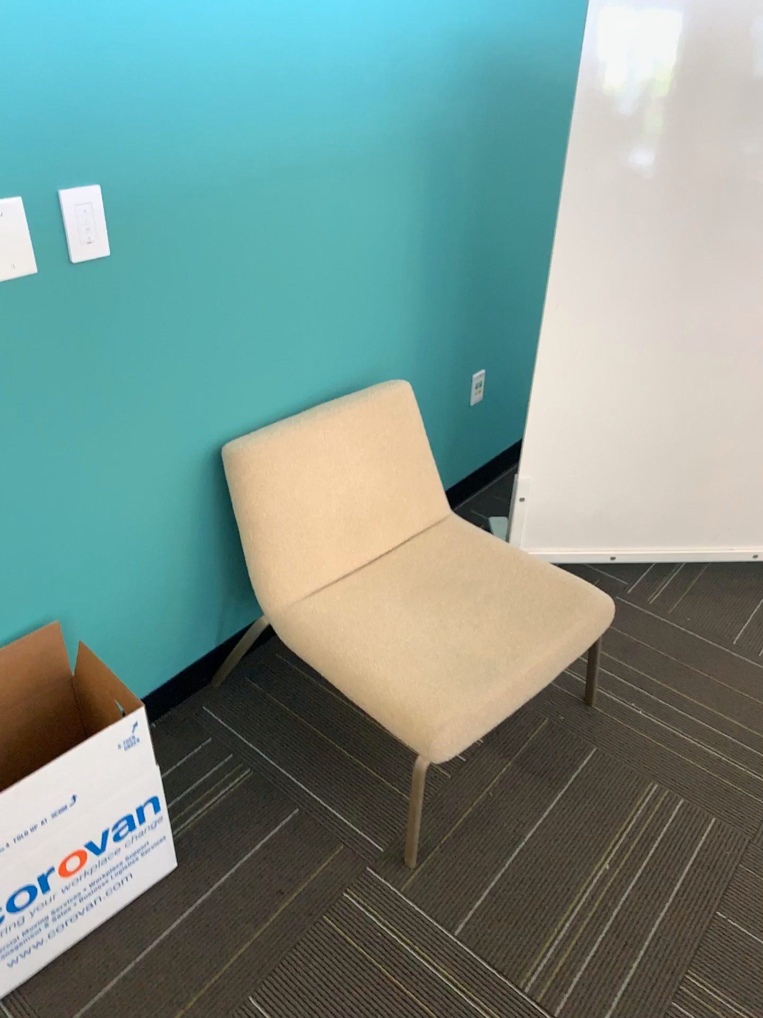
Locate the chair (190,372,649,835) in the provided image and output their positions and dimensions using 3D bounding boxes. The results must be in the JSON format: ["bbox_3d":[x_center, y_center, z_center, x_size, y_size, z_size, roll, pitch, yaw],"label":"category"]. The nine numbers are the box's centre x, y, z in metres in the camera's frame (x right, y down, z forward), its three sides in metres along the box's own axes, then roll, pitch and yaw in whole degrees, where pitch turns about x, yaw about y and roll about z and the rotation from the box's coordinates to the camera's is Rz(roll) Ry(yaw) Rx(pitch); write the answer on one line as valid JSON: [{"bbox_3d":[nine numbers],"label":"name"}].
[{"bbox_3d":[0.070,0.146,1.833,0.733,0.567,0.661,30,42,35],"label":"chair"}]
